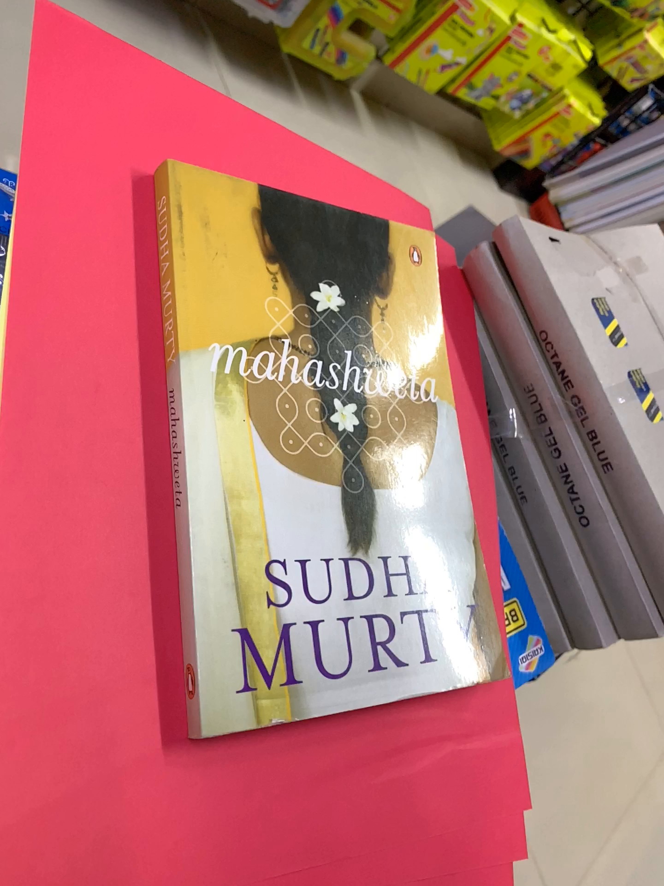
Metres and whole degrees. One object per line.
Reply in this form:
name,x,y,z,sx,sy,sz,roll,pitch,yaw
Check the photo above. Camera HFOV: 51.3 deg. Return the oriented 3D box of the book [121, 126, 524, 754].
book,-0.003,-0.007,0.257,0.141,0.020,0.200,4,71,-34
